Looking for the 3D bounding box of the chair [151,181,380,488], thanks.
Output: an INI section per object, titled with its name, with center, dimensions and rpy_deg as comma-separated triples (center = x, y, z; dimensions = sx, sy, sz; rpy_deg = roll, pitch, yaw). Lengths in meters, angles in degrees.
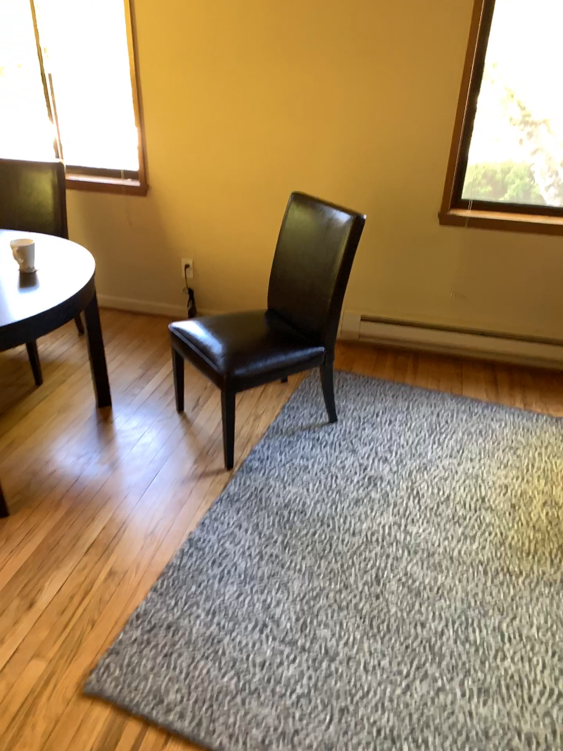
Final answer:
[chair]
center = -0.080, -0.203, 2.433
dimensions = 0.670, 1.034, 0.563
rpy_deg = -18, 36, -30
